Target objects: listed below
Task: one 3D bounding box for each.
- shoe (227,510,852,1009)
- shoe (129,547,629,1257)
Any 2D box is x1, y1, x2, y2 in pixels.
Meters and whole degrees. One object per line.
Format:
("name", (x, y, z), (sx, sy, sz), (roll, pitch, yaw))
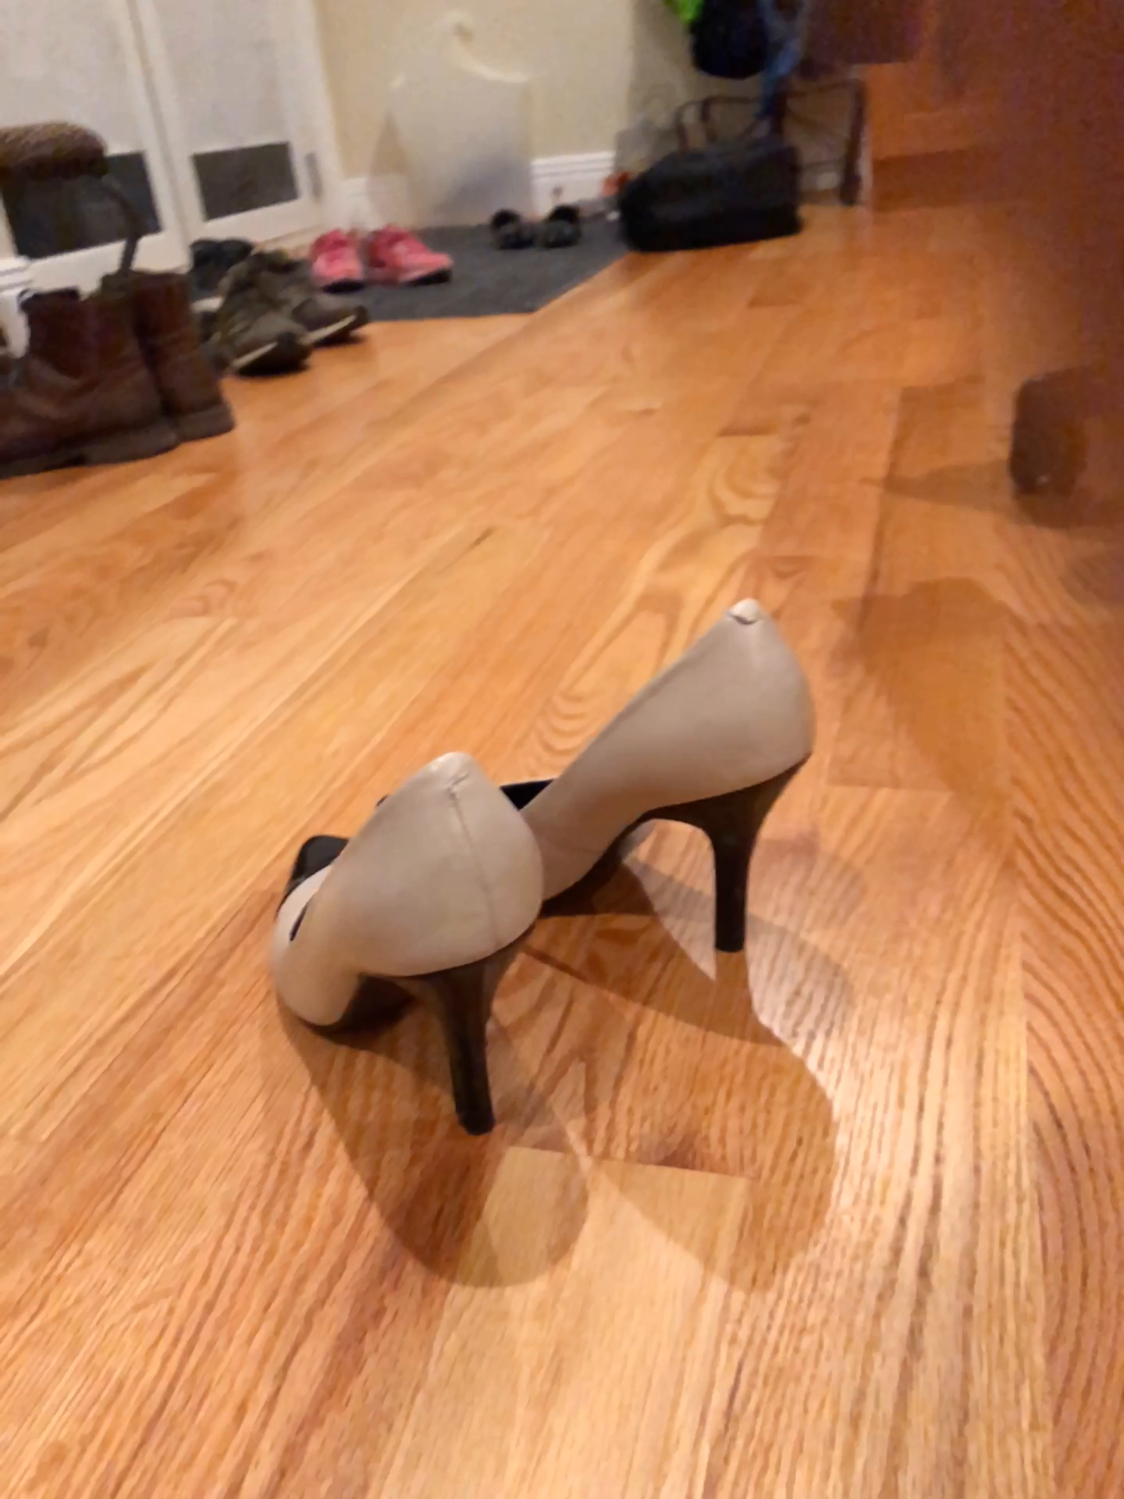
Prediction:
("shoe", (-0.010, -0.009, 0.507), (0.235, 0.138, 0.085), (13, 32, 33))
("shoe", (-0.076, 0.031, 0.445), (0.085, 0.138, 0.236), (-17, 29, -21))
